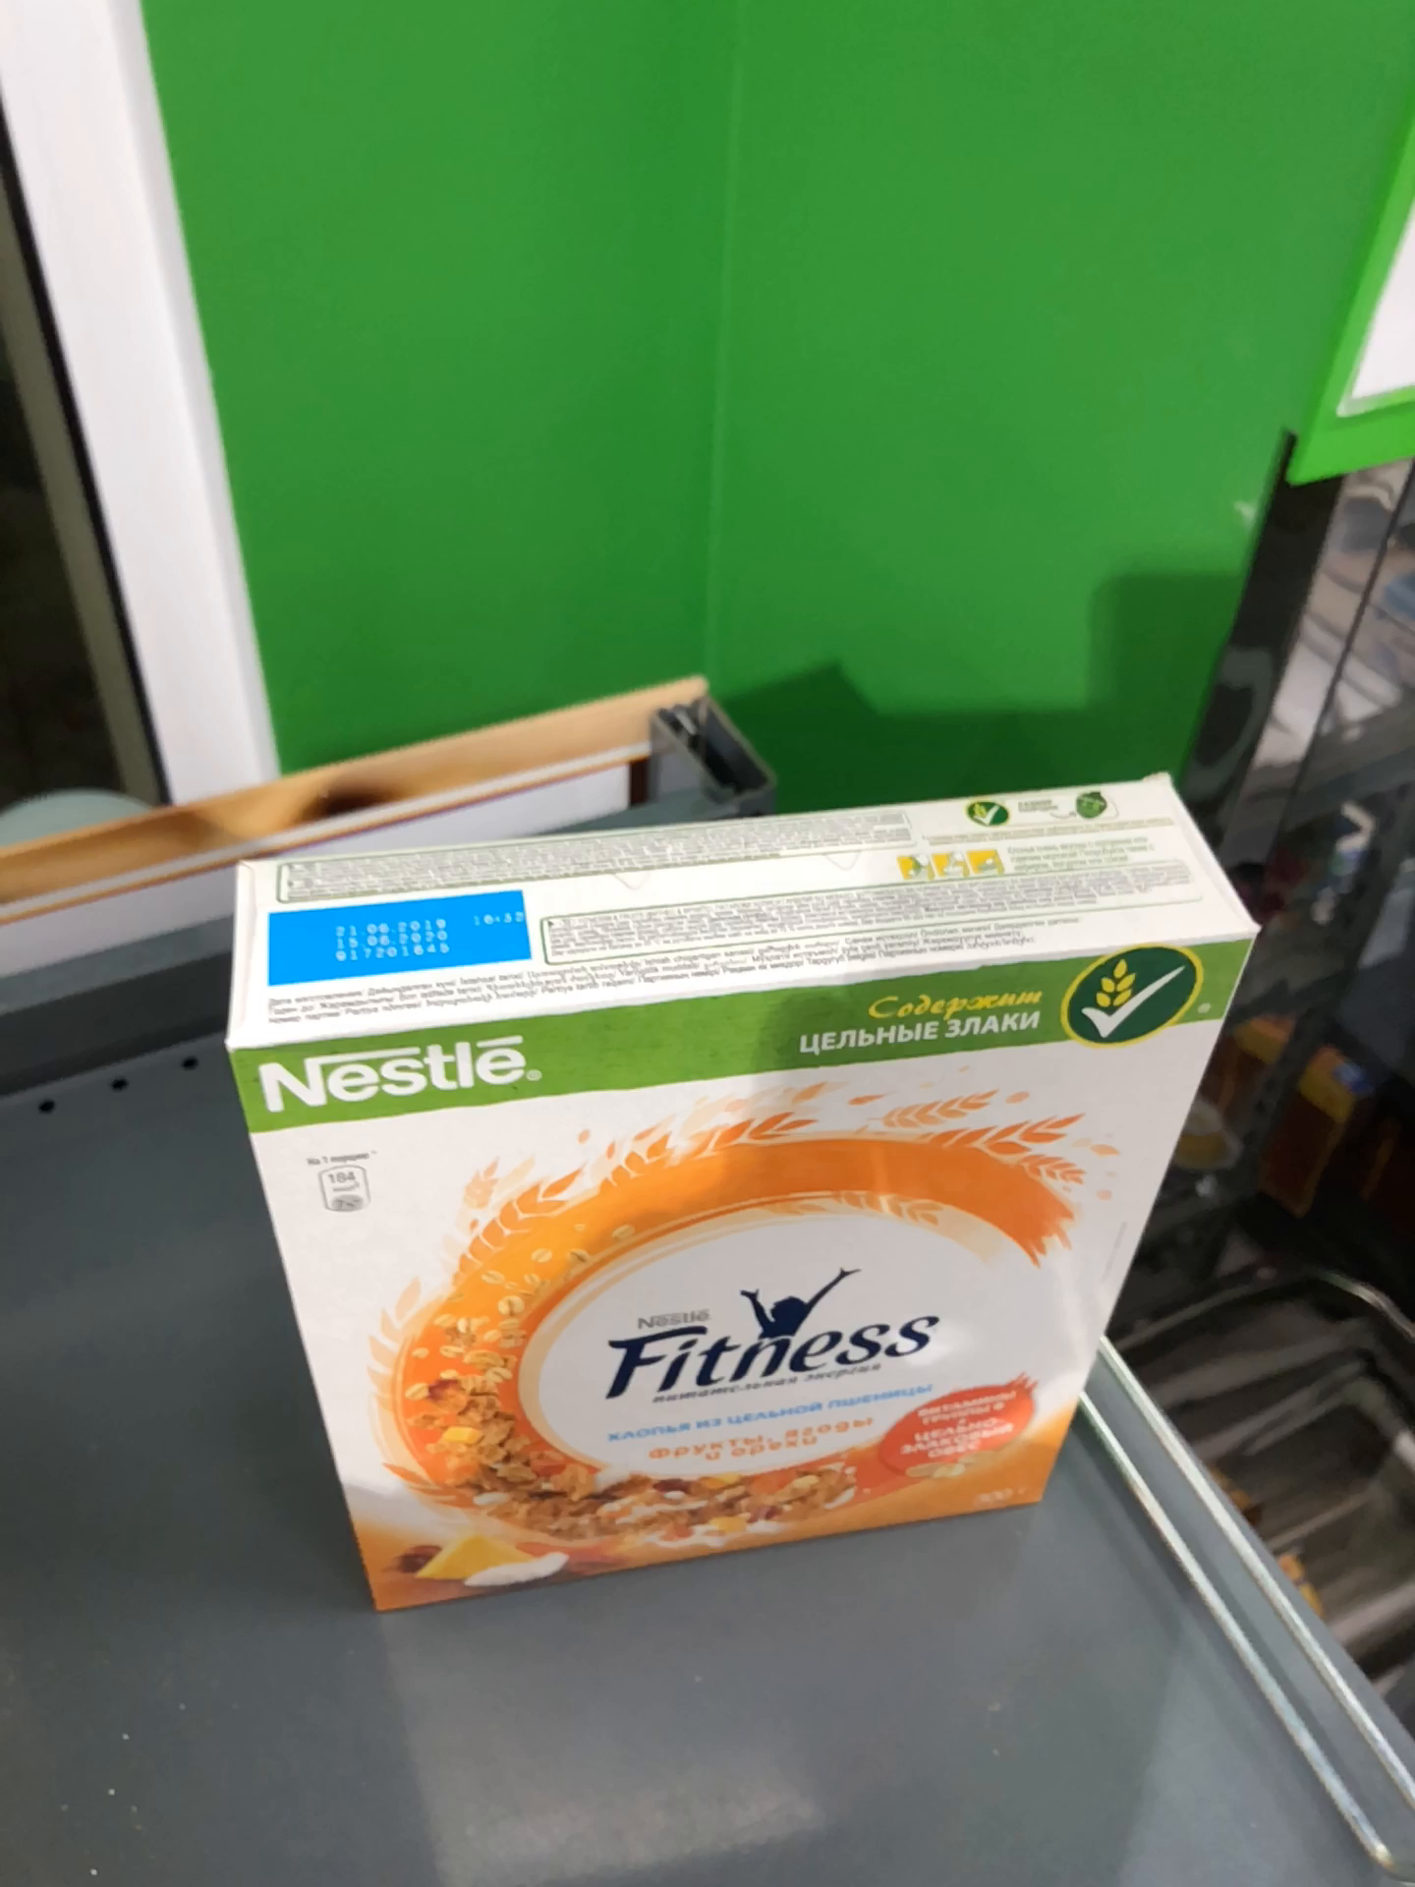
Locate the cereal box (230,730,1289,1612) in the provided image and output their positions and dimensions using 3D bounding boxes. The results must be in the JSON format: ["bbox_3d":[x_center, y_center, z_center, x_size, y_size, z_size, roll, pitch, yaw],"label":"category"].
[{"bbox_3d":[0.005,0.069,0.393,0.200,0.239,0.060,-5,44,-9],"label":"cereal box"}]
